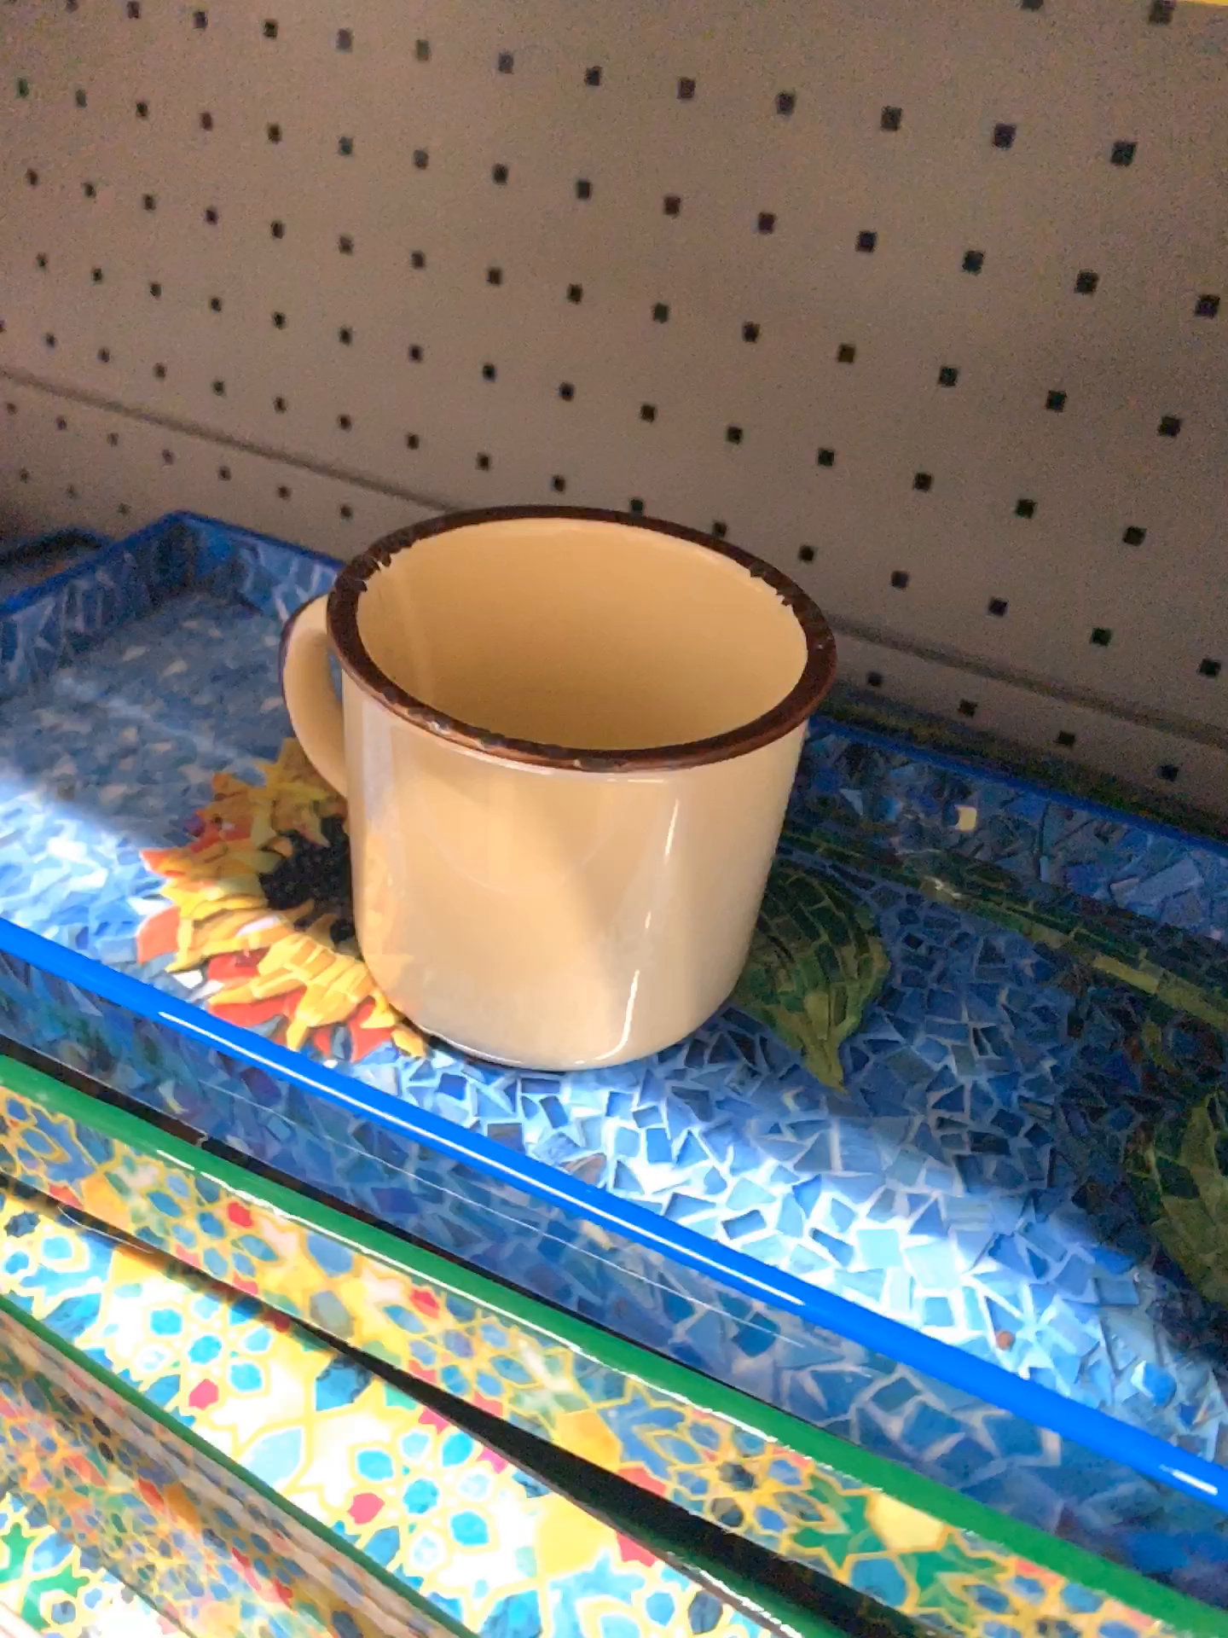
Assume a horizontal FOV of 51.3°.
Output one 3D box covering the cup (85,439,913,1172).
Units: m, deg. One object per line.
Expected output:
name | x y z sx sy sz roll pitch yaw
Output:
cup | -0.019 -0.012 0.238 0.110 0.070 0.090 22 37 20
